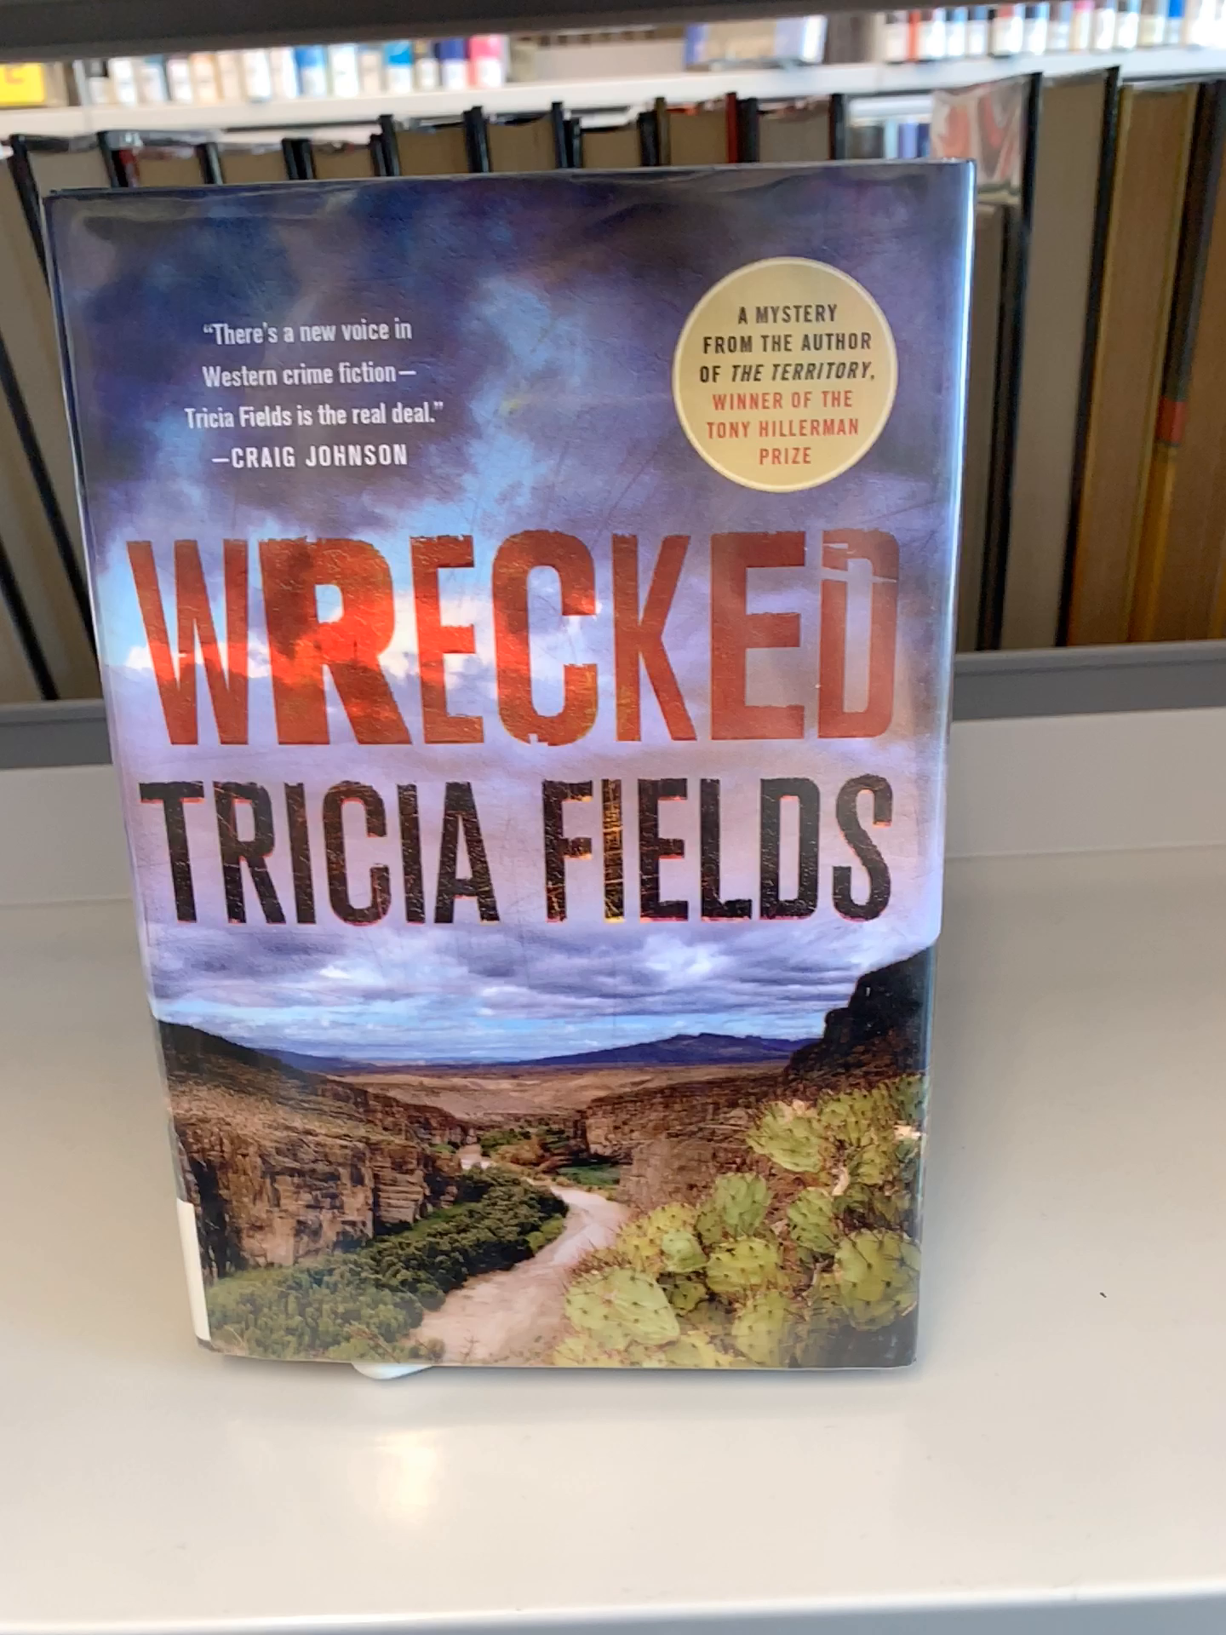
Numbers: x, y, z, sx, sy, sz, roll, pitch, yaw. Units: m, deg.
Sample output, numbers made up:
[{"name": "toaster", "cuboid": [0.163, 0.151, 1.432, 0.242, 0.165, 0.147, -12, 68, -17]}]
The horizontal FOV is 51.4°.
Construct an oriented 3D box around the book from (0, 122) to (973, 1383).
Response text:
[{"name": "book", "cuboid": [-0.021, 0.000, 0.223, 0.150, 0.203, 0.040, -1, 17, 4]}]
